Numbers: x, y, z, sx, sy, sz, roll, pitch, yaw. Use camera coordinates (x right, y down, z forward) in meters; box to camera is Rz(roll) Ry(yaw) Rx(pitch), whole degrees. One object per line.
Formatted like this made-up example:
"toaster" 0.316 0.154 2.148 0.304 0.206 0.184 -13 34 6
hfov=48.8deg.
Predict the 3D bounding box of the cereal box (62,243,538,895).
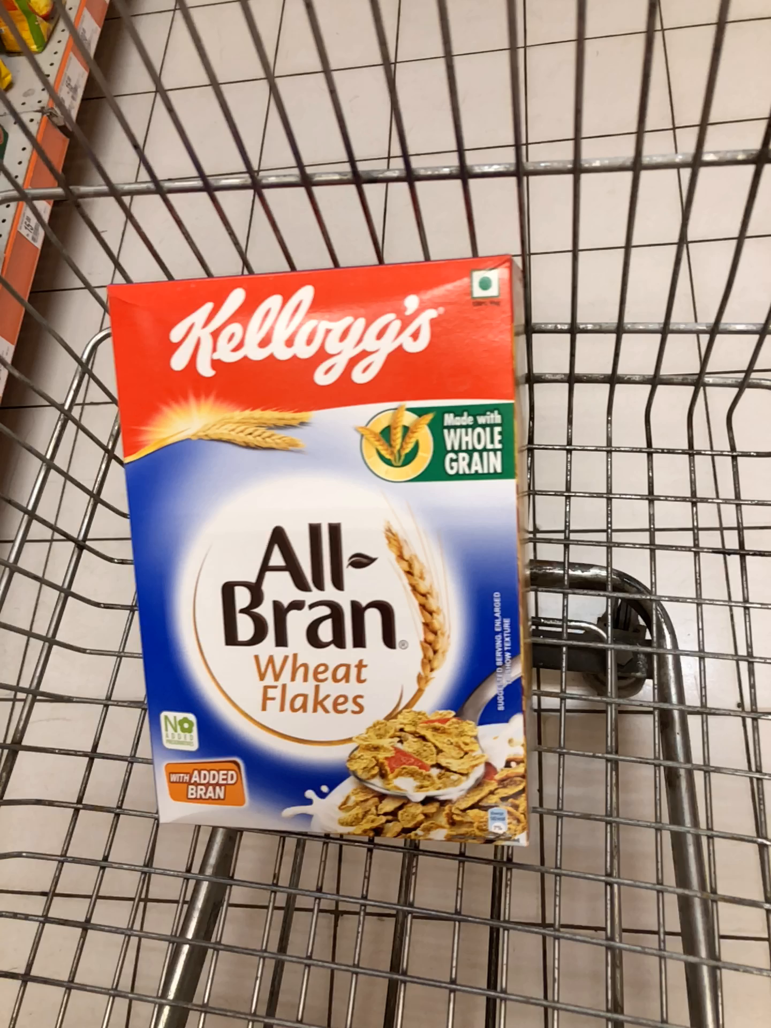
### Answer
"cereal box" -0.027 0.024 0.397 0.190 0.080 0.270 0 102 11
